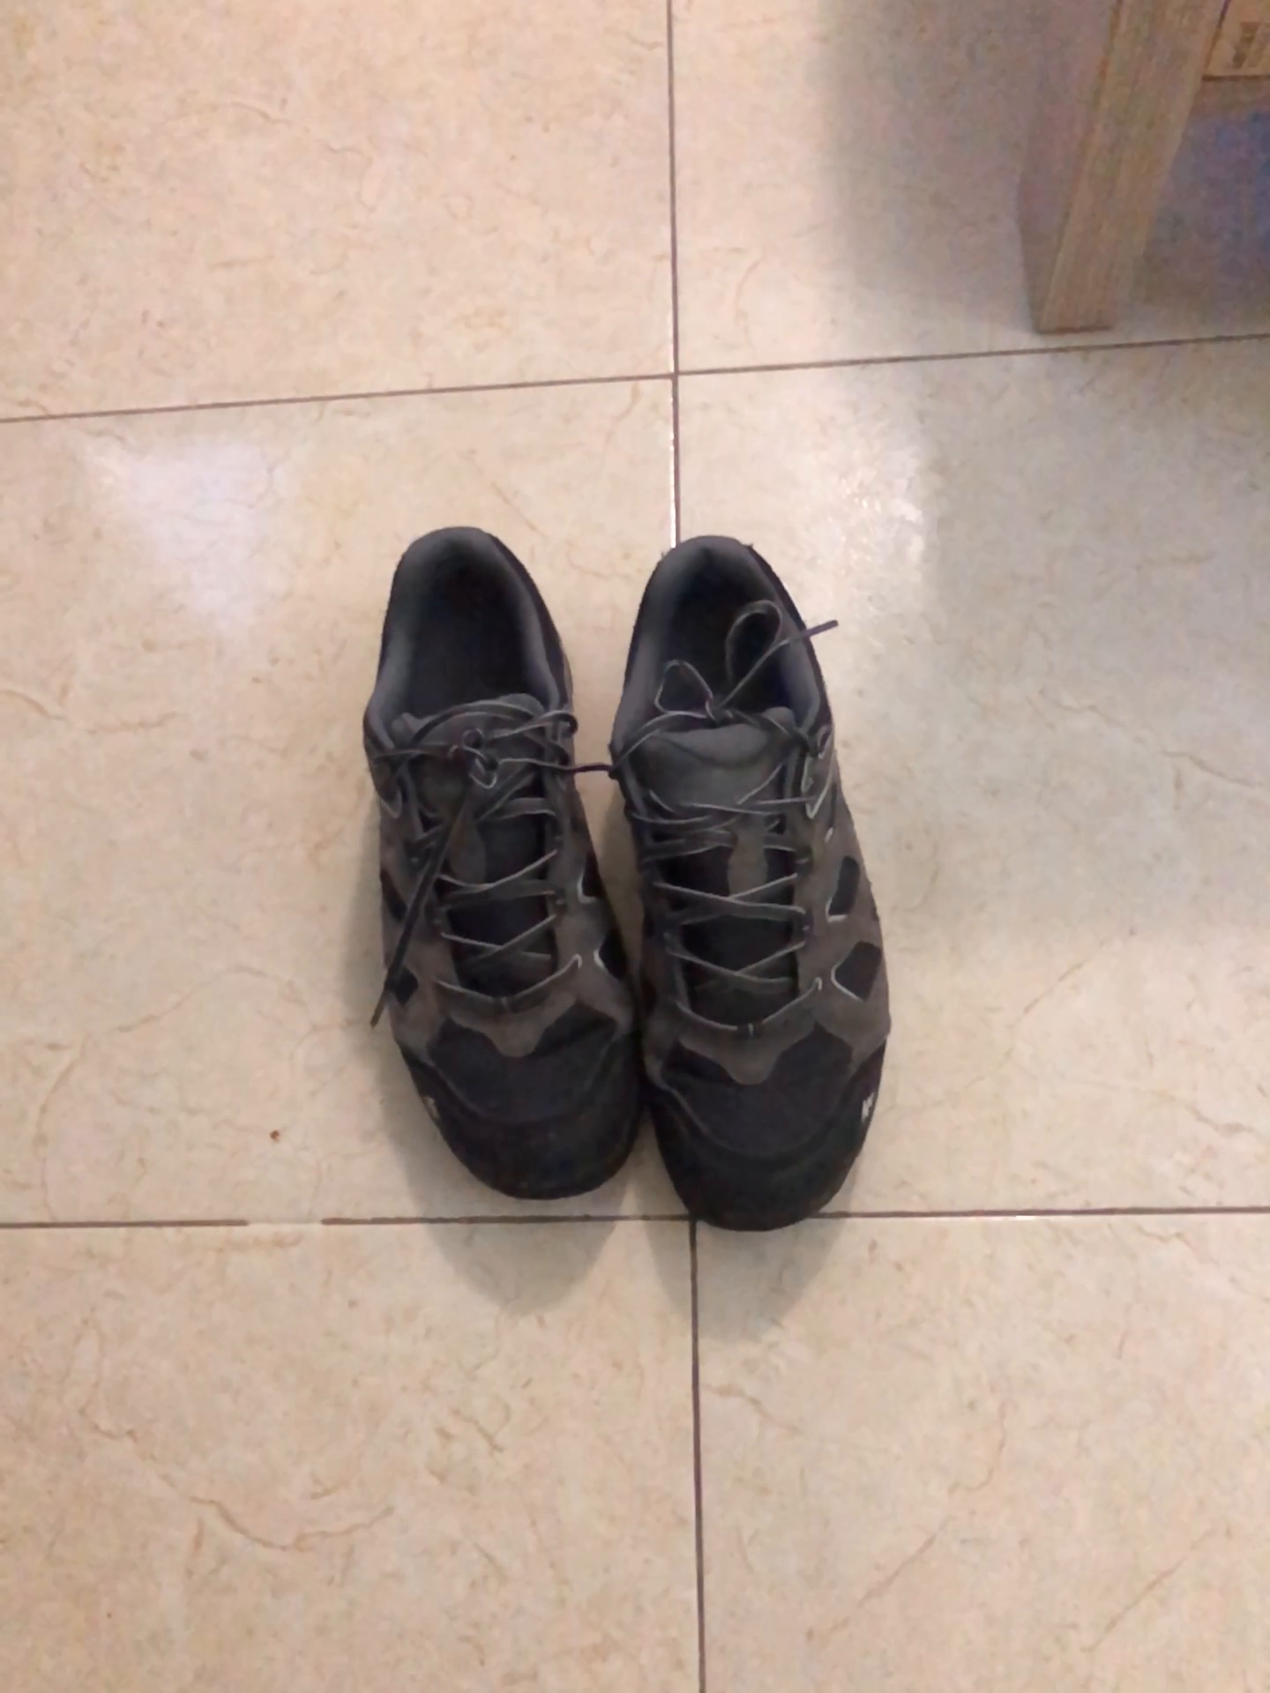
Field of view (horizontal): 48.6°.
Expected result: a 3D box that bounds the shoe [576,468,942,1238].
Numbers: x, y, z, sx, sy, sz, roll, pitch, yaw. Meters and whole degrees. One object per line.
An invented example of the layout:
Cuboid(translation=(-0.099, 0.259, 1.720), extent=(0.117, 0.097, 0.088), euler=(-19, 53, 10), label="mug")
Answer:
Cuboid(translation=(0.048, 0.003, 0.618), extent=(0.120, 0.110, 0.310), euler=(-5, 70, 4), label="shoe")

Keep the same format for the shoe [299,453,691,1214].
Cuboid(translation=(-0.064, -0.006, 0.639), extent=(0.120, 0.110, 0.310), euler=(-11, 69, 2), label="shoe")
